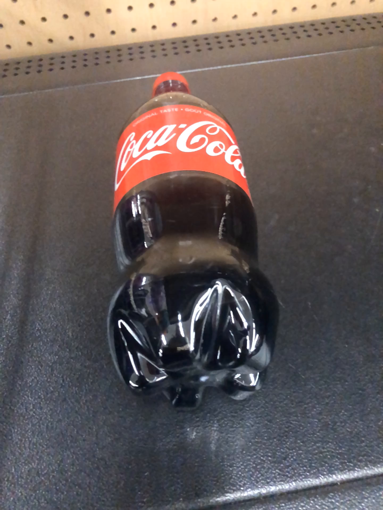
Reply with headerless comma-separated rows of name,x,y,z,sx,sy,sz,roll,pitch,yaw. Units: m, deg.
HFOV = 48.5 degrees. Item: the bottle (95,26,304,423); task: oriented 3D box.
bottle,-0.007,-0.042,0.274,0.080,0.080,0.261,-6,52,-1
